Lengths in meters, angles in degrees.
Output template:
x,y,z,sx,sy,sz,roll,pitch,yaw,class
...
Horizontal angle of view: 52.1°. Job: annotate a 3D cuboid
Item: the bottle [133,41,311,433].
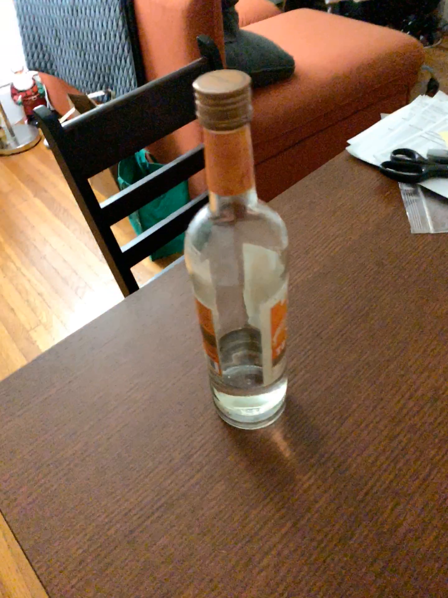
x,y,z,sx,sy,sz,roll,pitch,yaw,class
0.011,-0.012,0.346,0.080,0.298,0.090,-3,47,4,bottle
